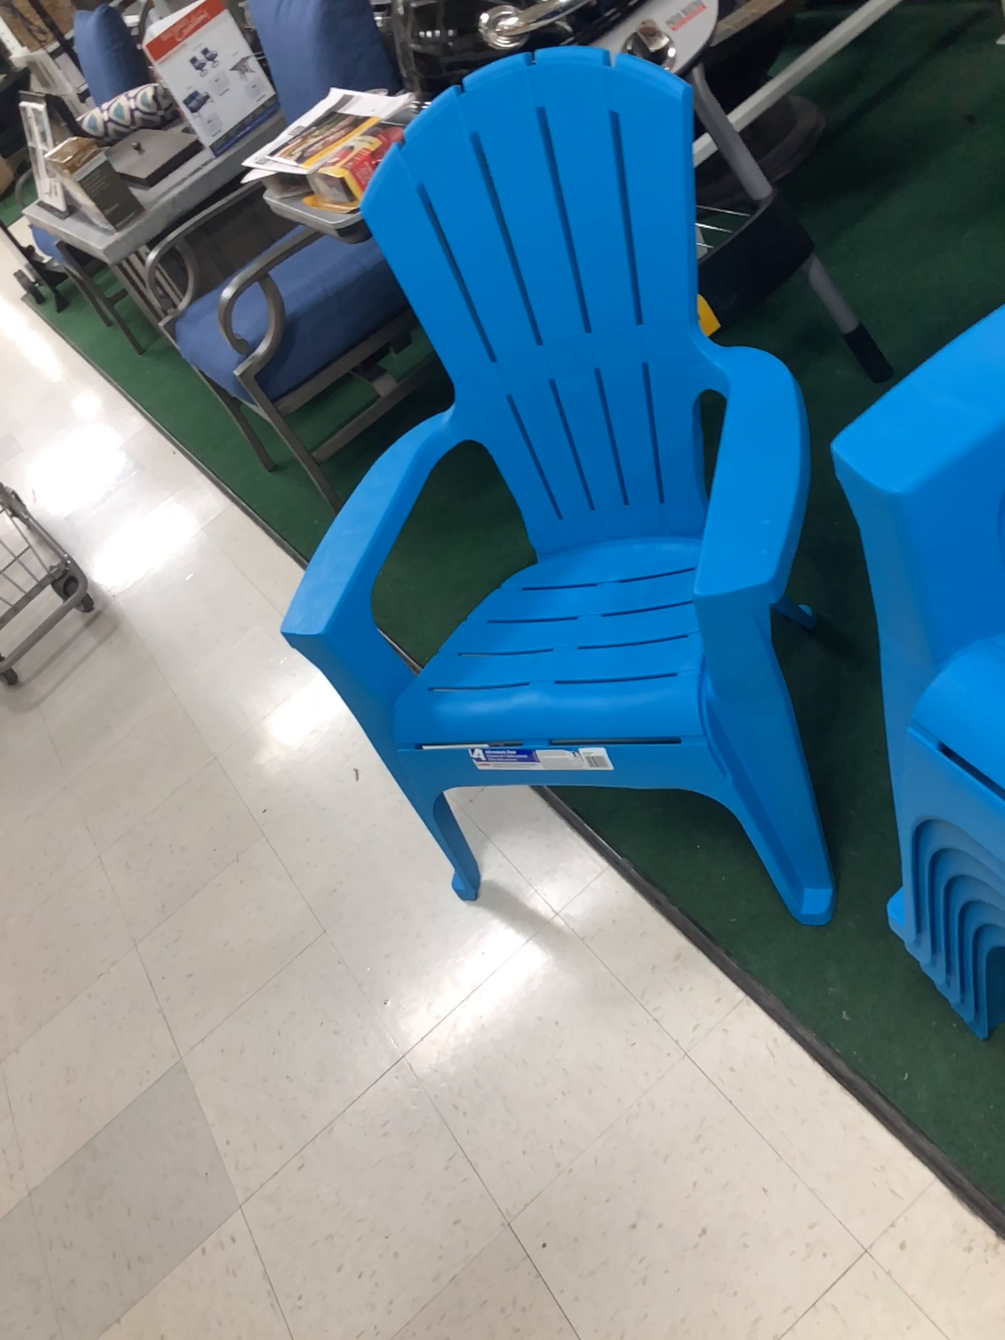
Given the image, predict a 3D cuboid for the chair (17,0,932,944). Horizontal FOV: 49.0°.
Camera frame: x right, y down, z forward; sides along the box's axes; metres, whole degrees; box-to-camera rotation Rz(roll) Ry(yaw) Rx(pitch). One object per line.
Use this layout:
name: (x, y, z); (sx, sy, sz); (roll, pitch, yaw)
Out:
chair: (0.084, -0.188, 1.445); (0.683, 0.931, 0.648); (-3, 49, 33)
